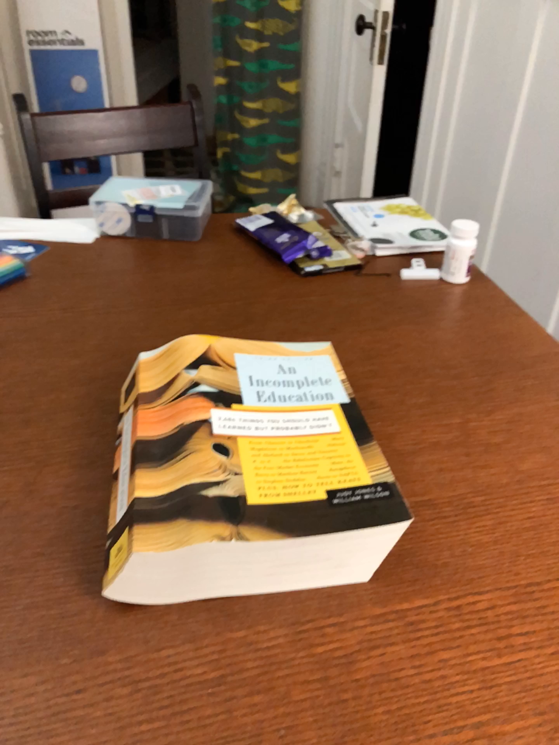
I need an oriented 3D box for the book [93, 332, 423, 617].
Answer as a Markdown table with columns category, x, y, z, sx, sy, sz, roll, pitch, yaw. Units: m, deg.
| category | x | y | z | sx | sy | sz | roll | pitch | yaw |
| --- | --- | --- | --- | --- | --- | --- | --- | --- | --- |
| book | -0.035 | 0.064 | 0.503 | 0.210 | 0.060 | 0.251 | 3 | 33 | -15 |
